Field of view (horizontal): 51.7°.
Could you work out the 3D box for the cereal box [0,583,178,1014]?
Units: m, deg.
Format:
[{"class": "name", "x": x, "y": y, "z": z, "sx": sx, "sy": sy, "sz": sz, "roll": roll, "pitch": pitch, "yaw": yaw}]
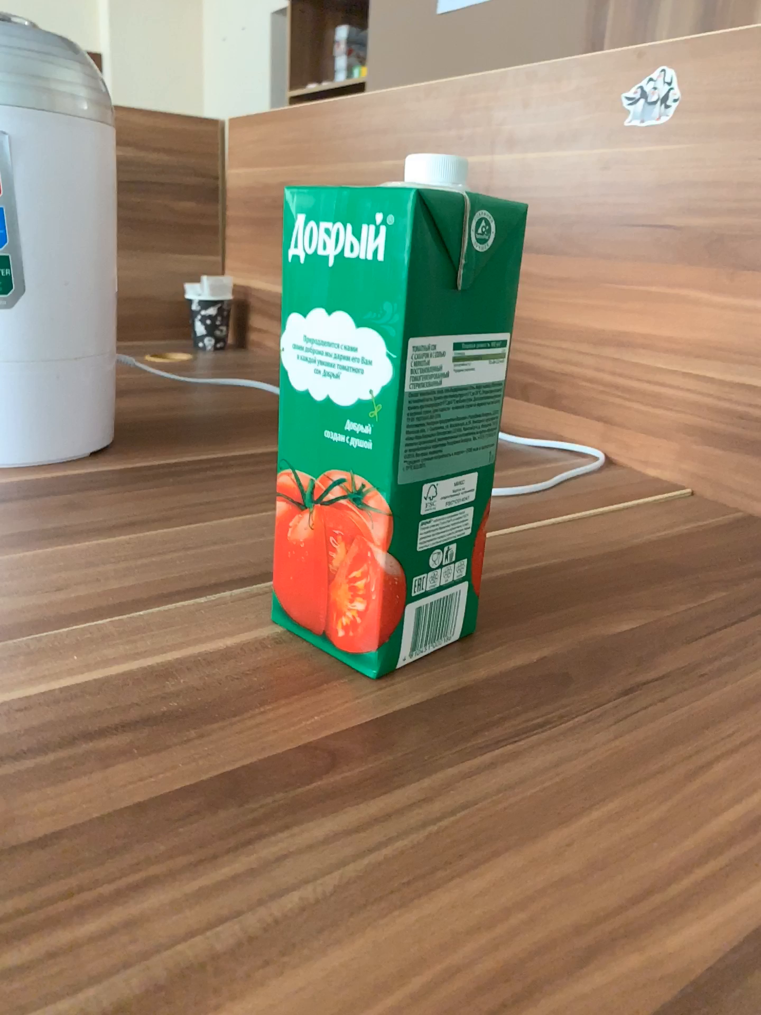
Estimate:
[{"class": "cereal box", "x": -0.490, "y": 0.574, "z": 0.237, "sx": 0.590, "sy": 0.837, "sz": 0.612, "roll": 8, "pitch": 19, "yaw": 13}]
